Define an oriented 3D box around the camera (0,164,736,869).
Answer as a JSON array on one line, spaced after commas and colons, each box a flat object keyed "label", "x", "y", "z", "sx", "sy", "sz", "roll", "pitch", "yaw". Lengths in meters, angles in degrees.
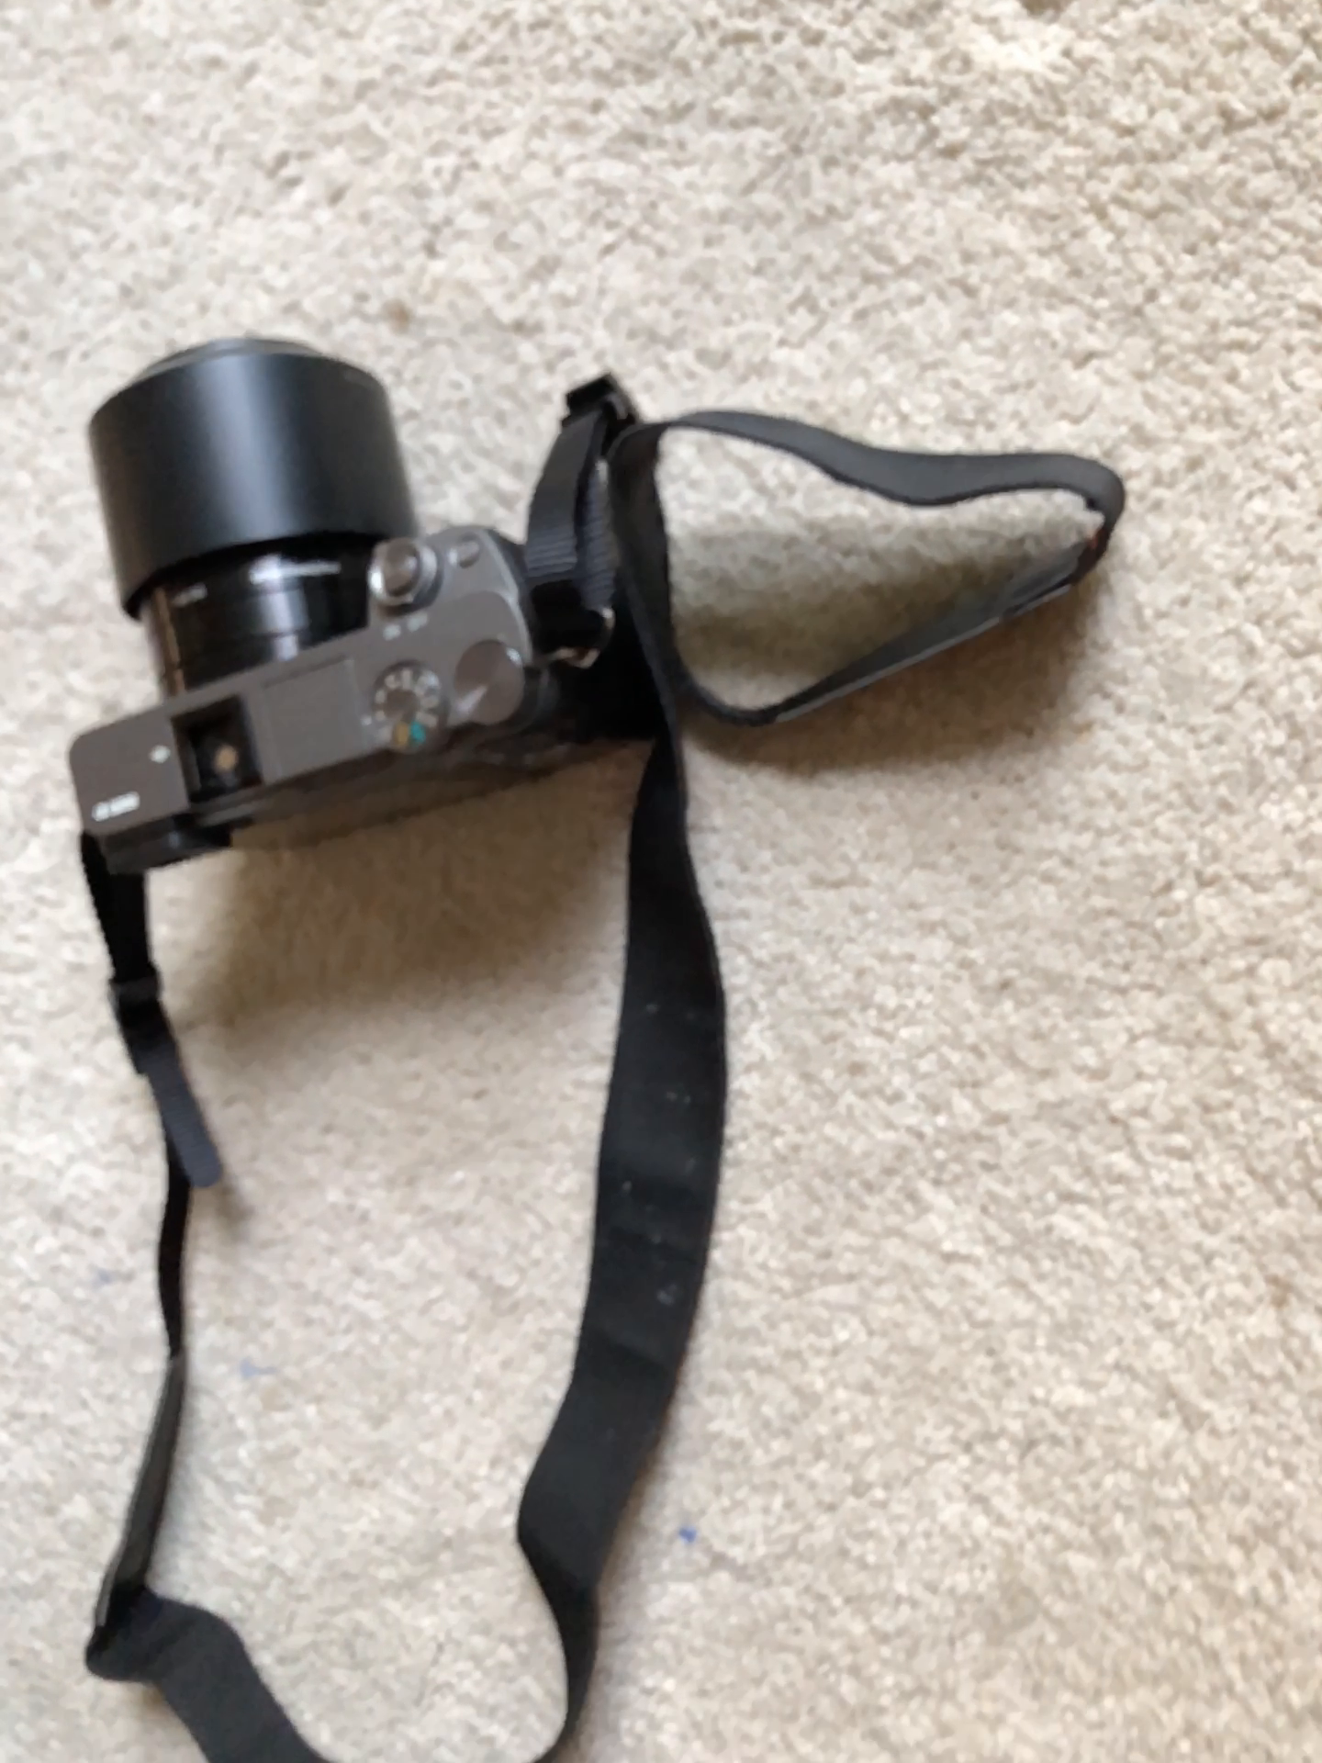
[{"label": "camera", "x": -0.062, "y": -0.066, "z": 0.315, "sx": 0.120, "sy": 0.070, "sz": 0.100, "roll": -14, "pitch": 87, "yaw": 24}]
